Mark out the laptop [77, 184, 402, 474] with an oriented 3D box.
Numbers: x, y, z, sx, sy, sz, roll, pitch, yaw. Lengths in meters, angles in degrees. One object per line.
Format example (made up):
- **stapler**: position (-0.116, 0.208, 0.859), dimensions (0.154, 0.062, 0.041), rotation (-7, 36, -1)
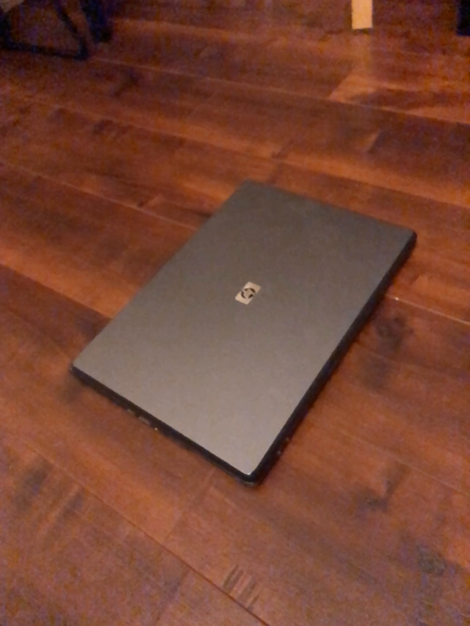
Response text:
- **laptop**: position (0.011, -0.016, 0.553), dimensions (0.216, 0.005, 0.310), rotation (24, 60, 28)
